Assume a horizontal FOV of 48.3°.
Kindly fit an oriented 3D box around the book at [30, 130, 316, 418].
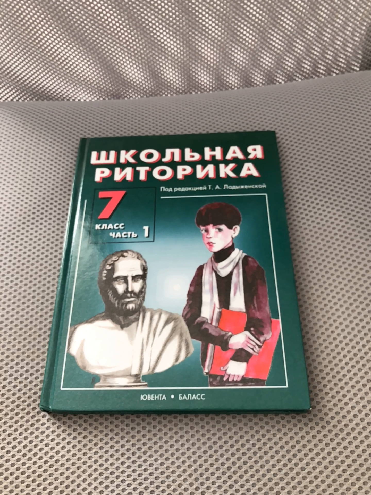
[{"bbox_3d":[-0.008,0.008,0.302,0.167,0.030,0.211,-2,63,2],"label":"book"}]
